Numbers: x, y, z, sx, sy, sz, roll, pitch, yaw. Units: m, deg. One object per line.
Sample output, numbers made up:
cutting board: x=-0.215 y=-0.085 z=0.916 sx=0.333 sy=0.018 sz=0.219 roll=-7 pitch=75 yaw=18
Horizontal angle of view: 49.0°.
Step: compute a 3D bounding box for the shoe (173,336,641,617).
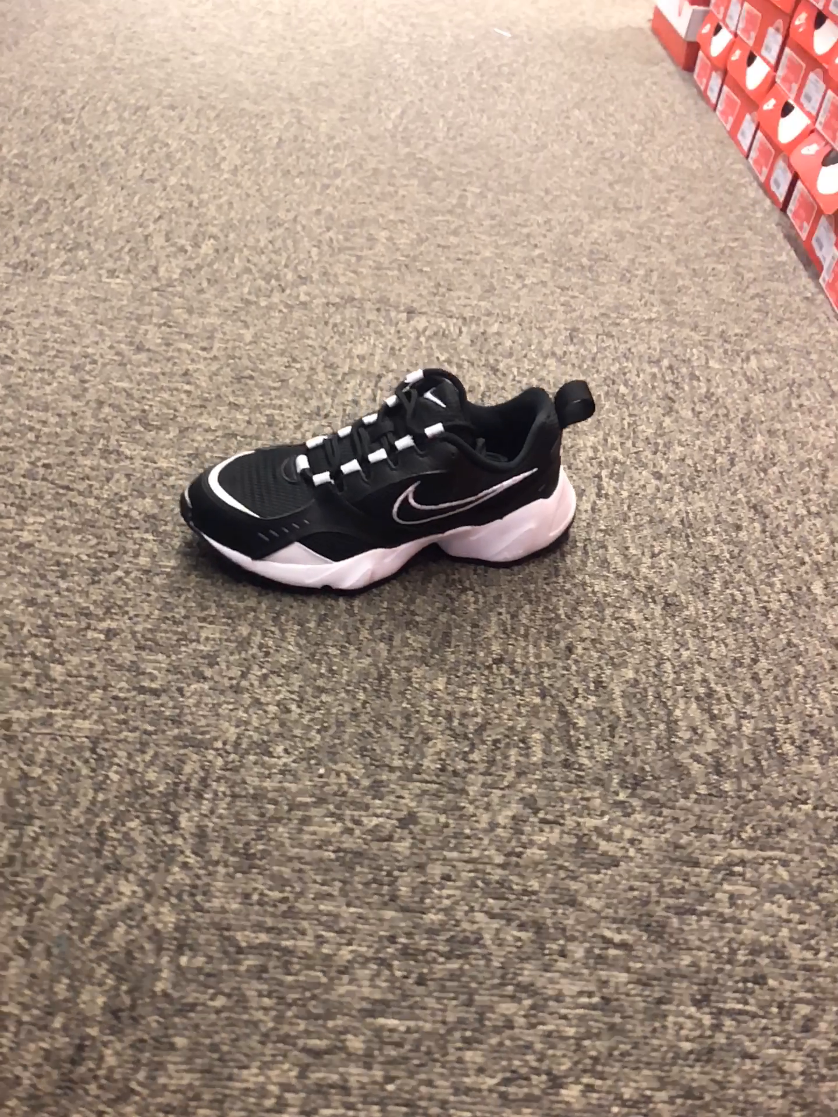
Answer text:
shoe: x=-0.012 y=-0.056 z=0.582 sx=0.260 sy=0.109 sz=0.105 roll=-7 pitch=45 yaw=-12
